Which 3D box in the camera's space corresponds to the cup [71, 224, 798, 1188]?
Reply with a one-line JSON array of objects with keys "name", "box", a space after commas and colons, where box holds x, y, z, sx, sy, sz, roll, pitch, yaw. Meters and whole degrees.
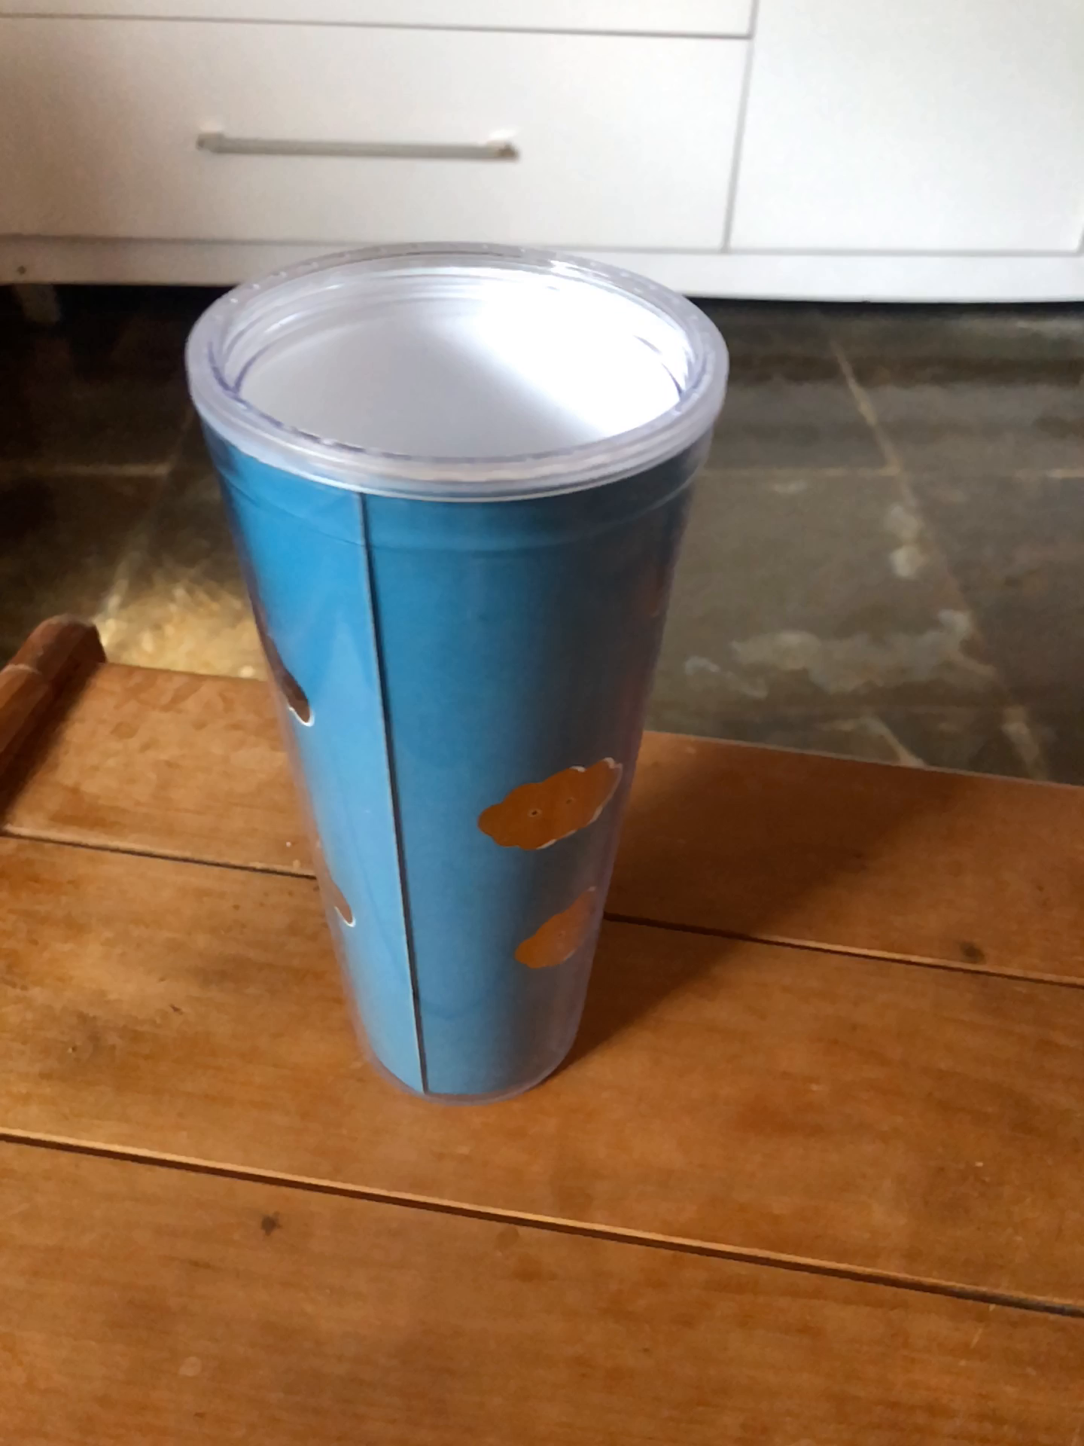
[{"name": "cup", "box": [-0.014, 0.001, 0.274, 0.100, 0.179, 0.101, 1, 41, -1]}]
